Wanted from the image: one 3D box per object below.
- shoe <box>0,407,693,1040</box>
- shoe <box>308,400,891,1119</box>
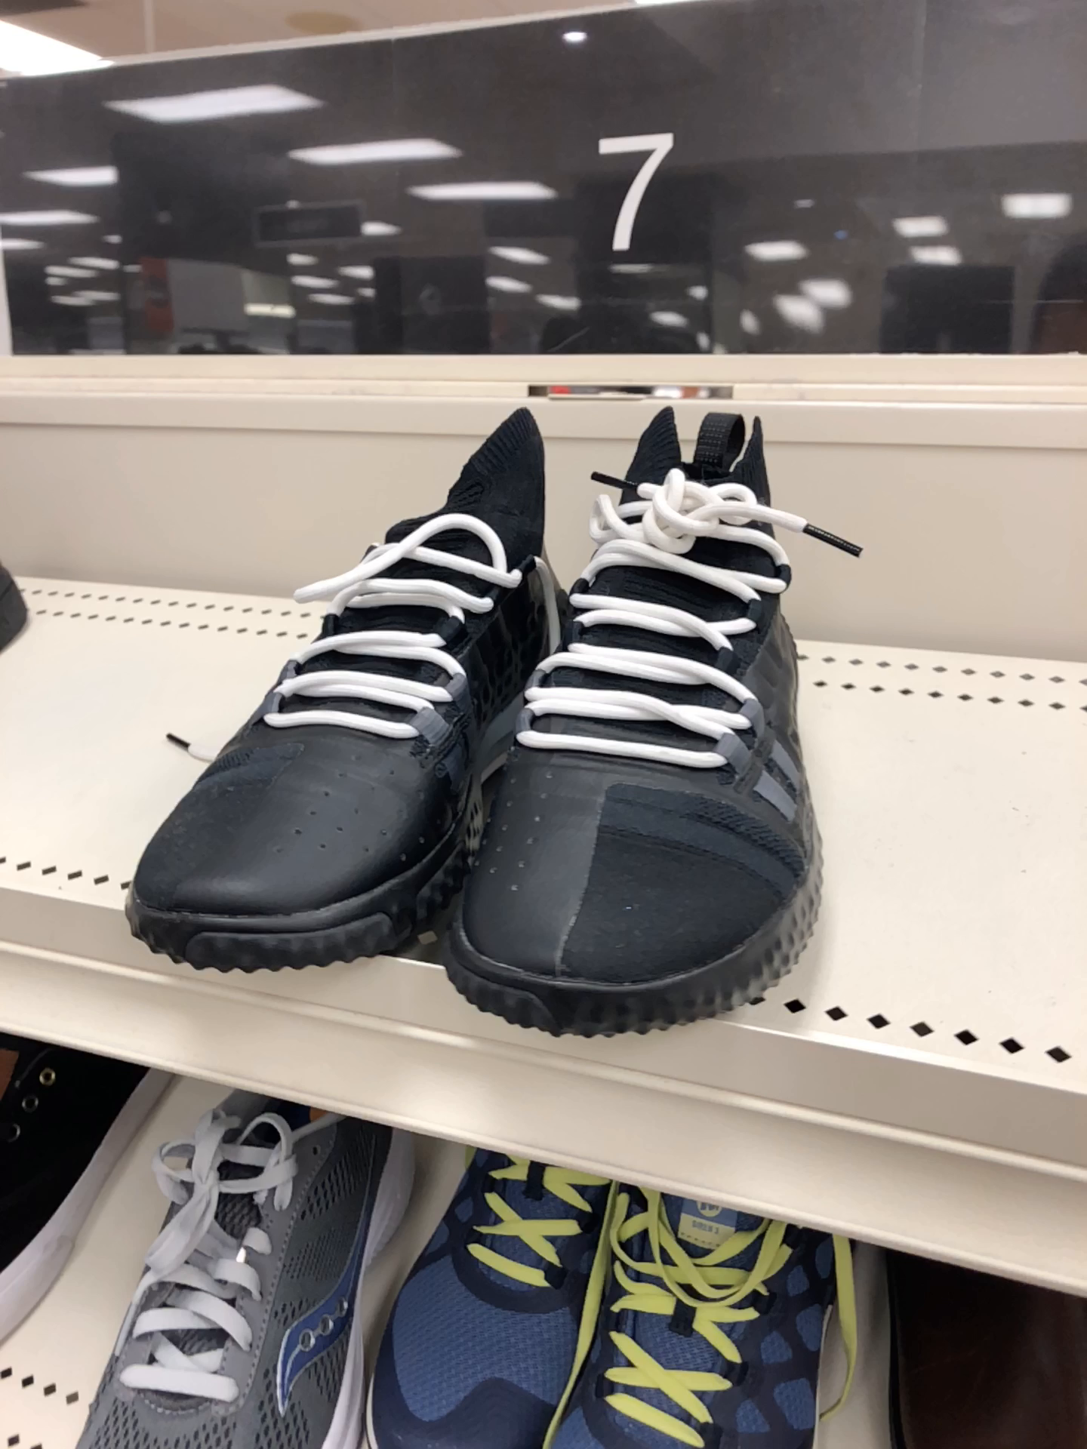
[{"bbox_3d":[-0.042,-0.040,0.500,0.120,0.136,0.352,6,23,21],"label":"shoe"},{"bbox_3d":[0.055,-0.031,0.455,0.120,0.136,0.352,5,22,17],"label":"shoe"}]
